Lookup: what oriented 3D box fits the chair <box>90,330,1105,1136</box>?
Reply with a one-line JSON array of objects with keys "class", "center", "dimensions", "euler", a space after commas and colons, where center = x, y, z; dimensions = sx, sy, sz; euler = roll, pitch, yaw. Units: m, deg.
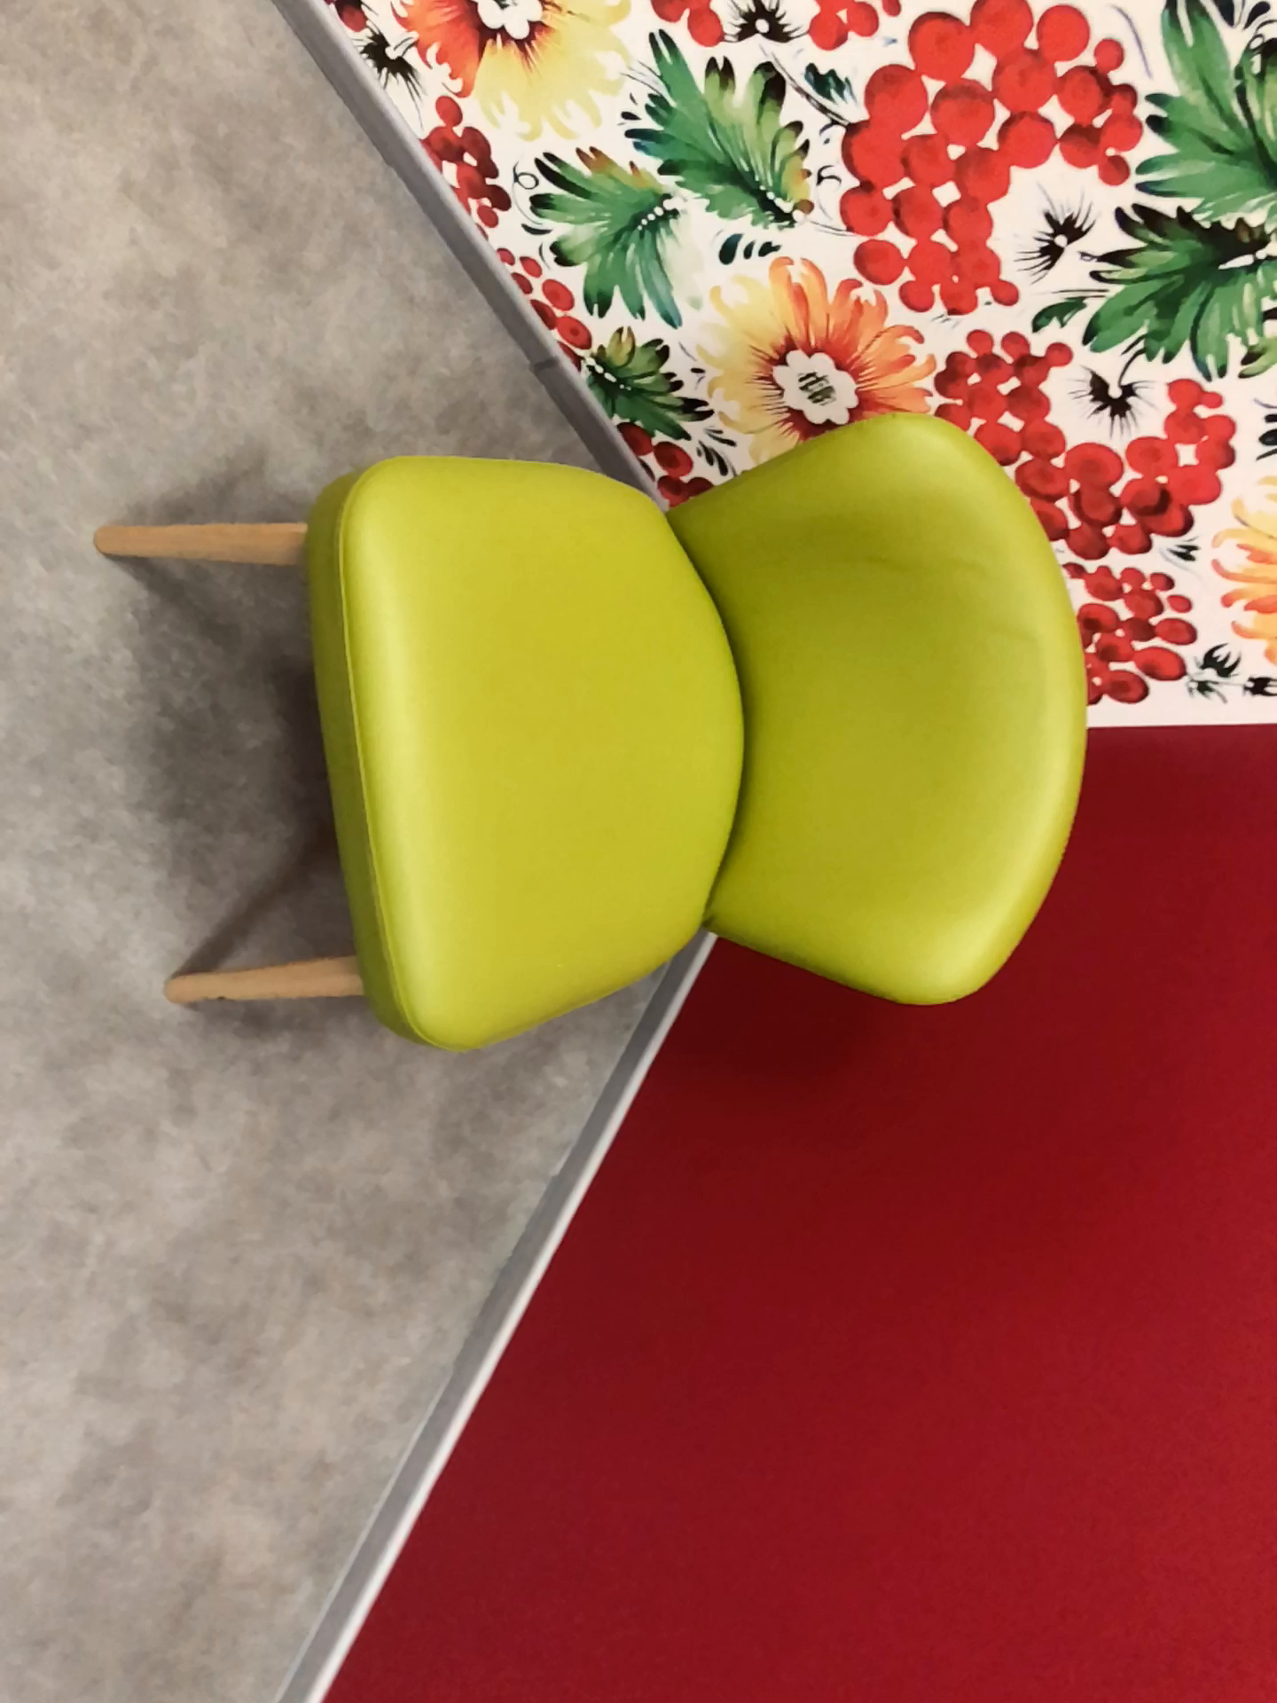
[{"class": "chair", "center": [-0.051, -0.126, 1.370], "dimensions": [0.573, 0.776, 0.520], "euler": [-13, 102, -45]}]
